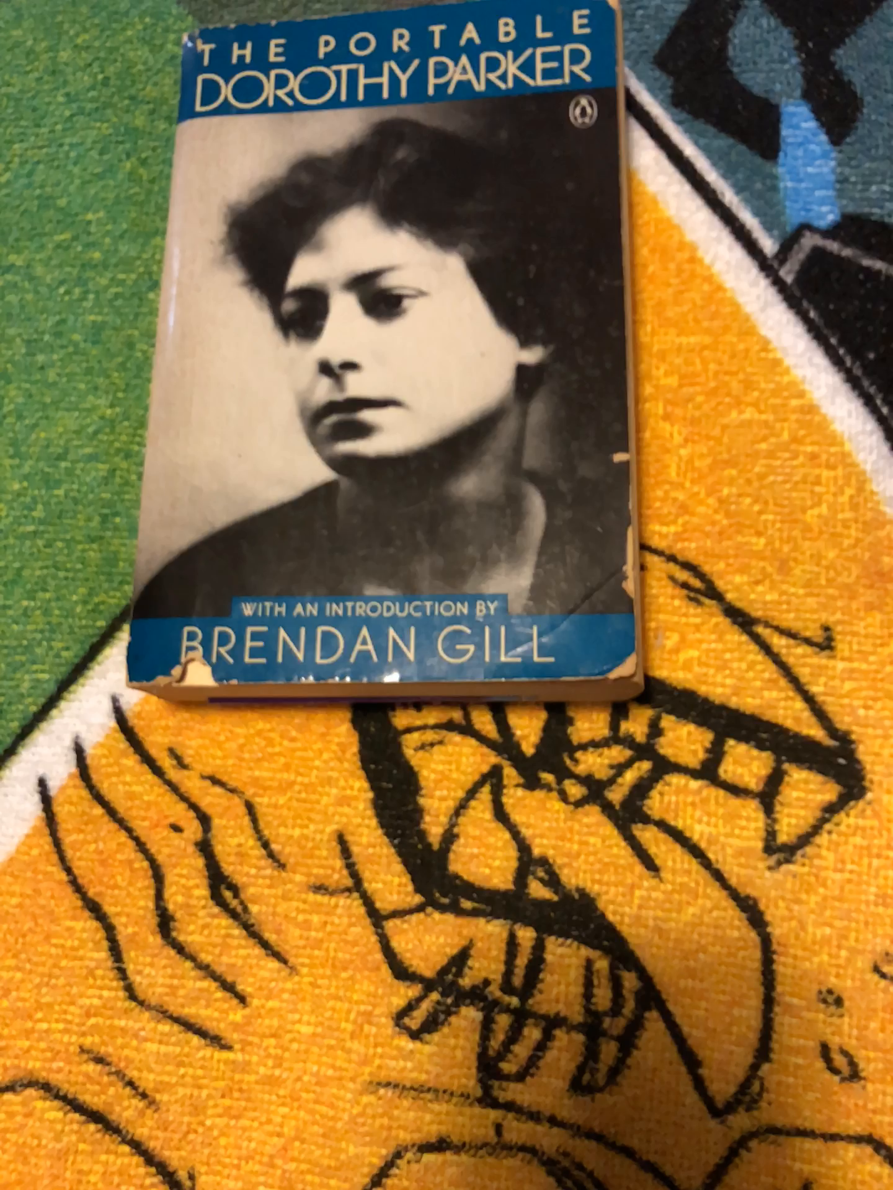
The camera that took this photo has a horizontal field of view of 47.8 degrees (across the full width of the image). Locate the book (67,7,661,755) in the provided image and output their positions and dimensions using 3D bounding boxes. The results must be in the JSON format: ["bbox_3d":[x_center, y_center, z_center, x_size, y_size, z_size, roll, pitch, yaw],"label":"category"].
[{"bbox_3d":[-0.017,-0.059,0.278,0.140,0.040,0.200,0,76,5],"label":"book"}]
